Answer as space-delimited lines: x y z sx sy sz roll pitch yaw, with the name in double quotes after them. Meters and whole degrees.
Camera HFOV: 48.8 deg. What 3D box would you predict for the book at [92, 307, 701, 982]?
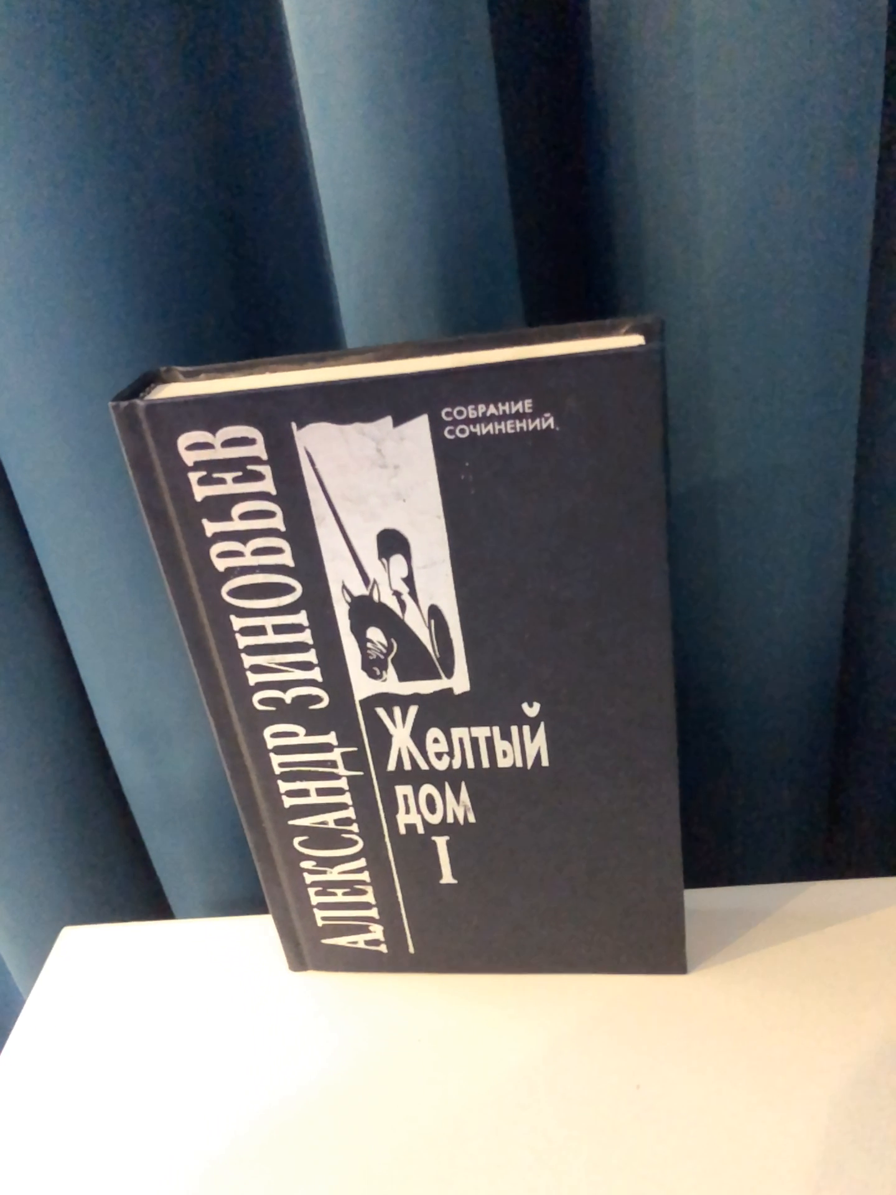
-0.001 0.031 0.295 0.140 0.210 0.033 -4 30 11 "book"
